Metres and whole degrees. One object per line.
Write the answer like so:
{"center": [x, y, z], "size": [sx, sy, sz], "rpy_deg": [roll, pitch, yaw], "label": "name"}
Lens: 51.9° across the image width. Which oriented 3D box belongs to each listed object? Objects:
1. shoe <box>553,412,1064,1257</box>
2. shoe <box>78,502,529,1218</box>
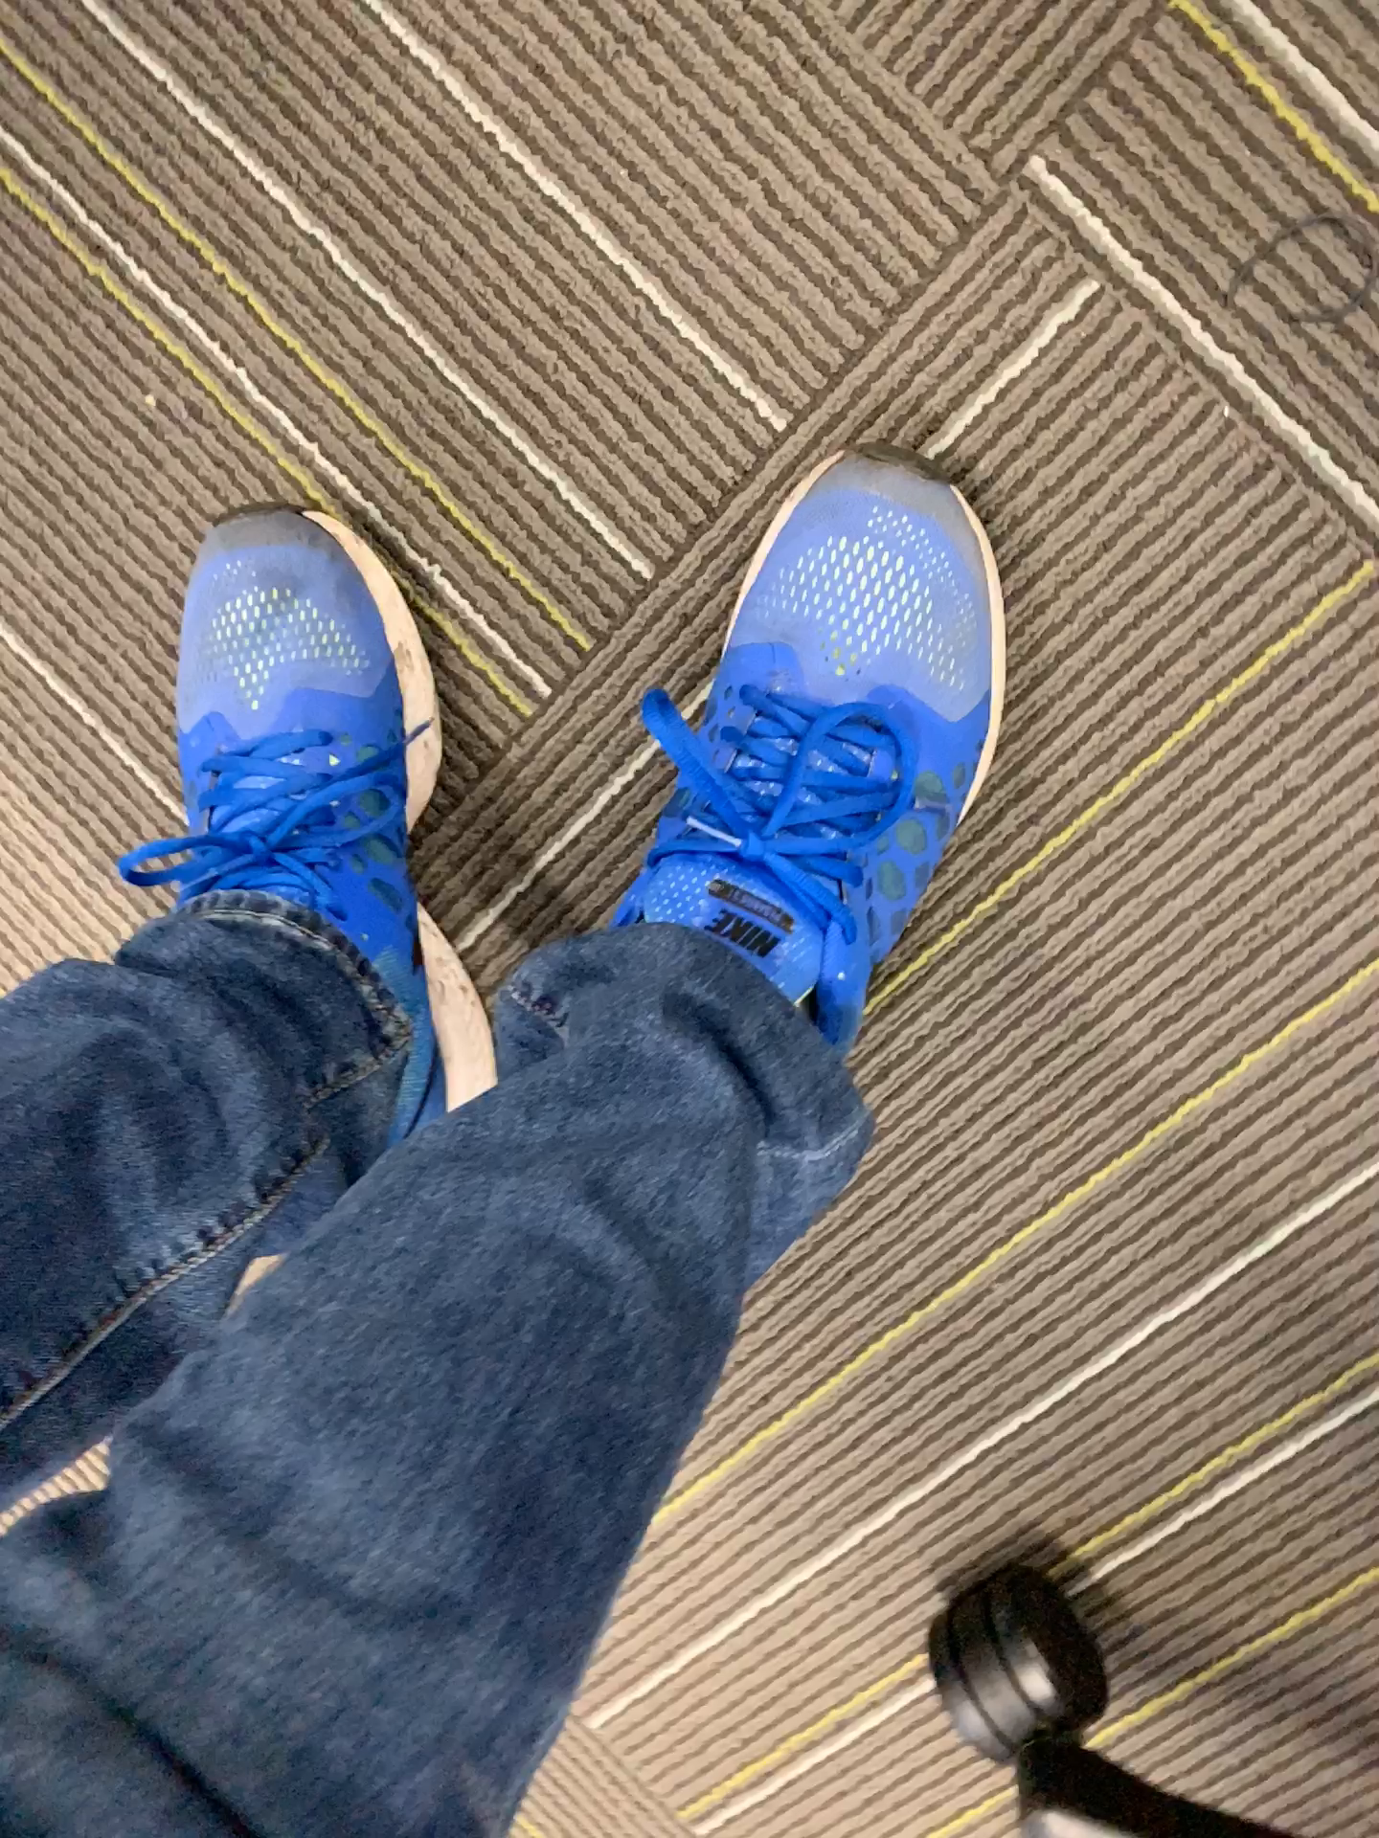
{"center": [0.044, -0.031, 0.569], "size": [0.129, 0.077, 0.300], "rpy_deg": [15, 107, 10], "label": "shoe"}
{"center": [-0.163, -0.021, 0.629], "size": [0.125, 0.077, 0.298], "rpy_deg": [-3, 103, 15], "label": "shoe"}
